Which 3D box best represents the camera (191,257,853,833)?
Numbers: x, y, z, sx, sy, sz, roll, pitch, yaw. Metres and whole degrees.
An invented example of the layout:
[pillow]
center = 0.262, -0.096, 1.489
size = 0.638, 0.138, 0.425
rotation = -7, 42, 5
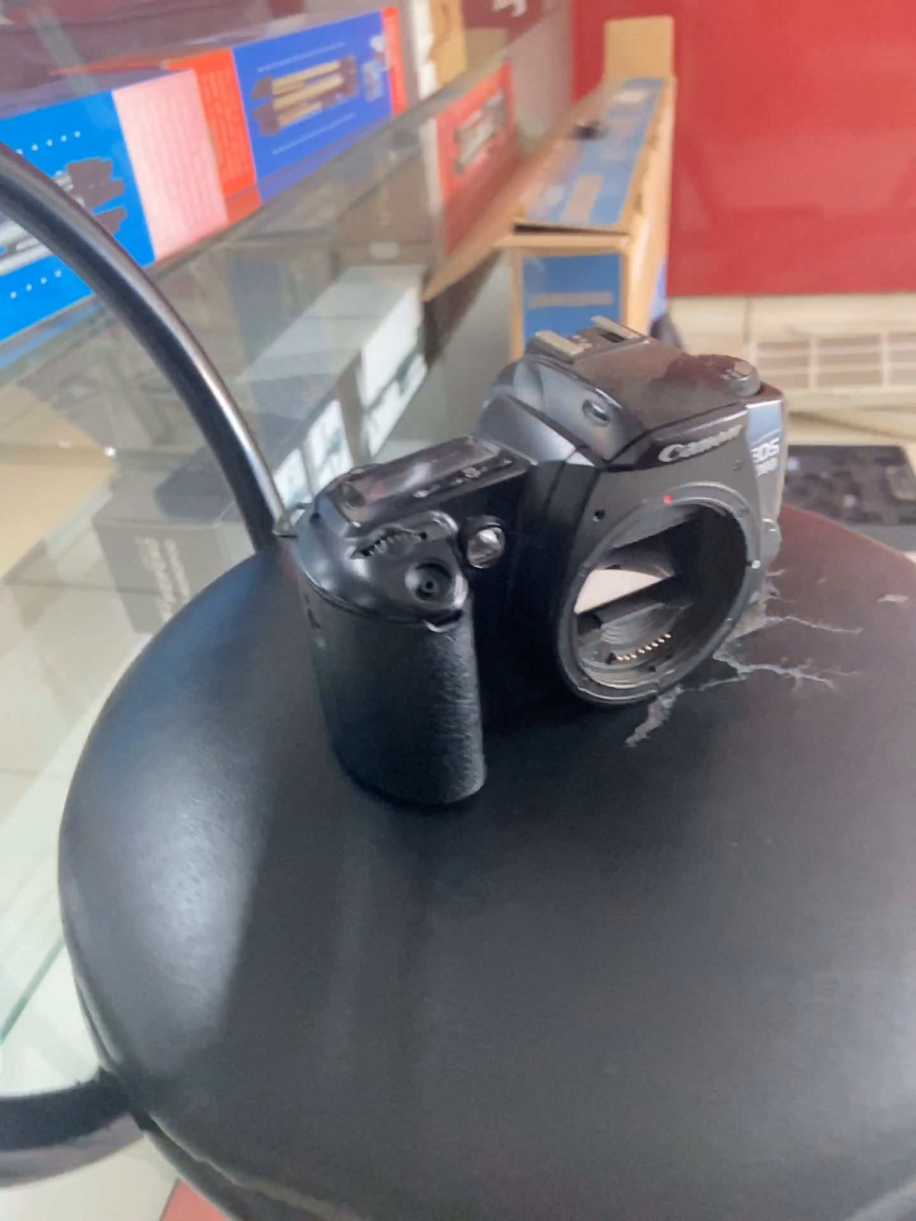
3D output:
[camera]
center = 0.019, -0.025, 0.249
size = 0.140, 0.089, 0.070
rotation = -22, 38, -21
